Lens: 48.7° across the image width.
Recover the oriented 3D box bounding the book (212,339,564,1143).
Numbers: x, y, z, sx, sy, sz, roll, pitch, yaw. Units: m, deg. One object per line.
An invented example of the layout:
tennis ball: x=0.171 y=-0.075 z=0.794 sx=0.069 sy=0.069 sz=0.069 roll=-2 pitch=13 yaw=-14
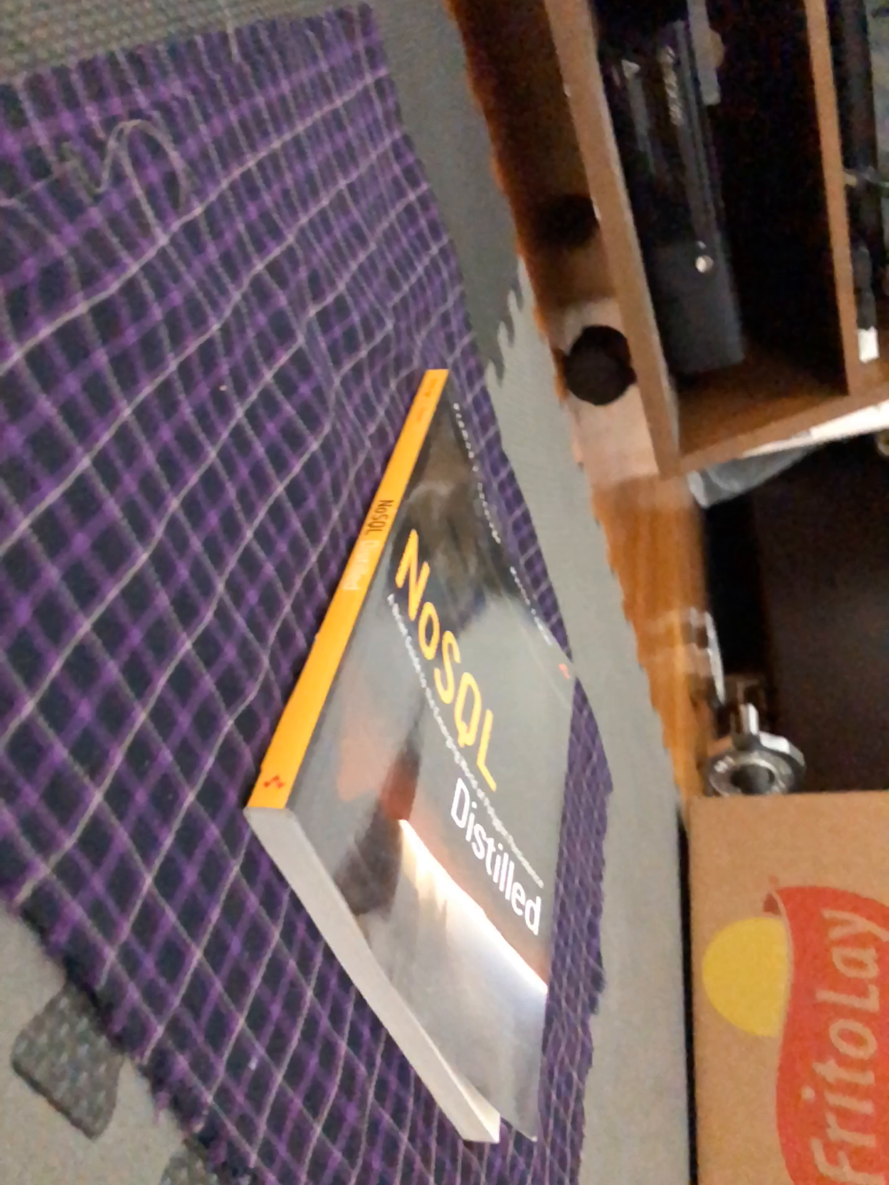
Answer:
book: x=0.004 y=0.042 z=0.388 sx=0.251 sy=0.020 sz=0.190 roll=-76 pitch=149 yaw=-50
